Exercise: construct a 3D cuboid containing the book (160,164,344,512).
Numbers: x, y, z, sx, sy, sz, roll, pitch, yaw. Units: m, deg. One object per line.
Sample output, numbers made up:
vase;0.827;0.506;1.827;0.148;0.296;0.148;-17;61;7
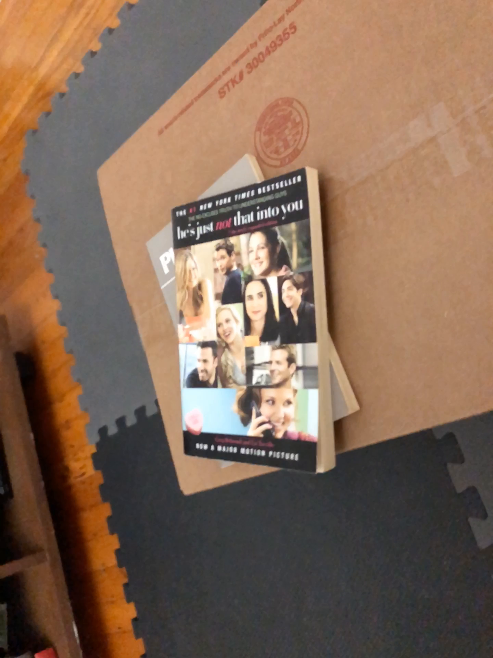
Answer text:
book;-0.004;0.010;0.415;0.150;0.010;0.230;-6;87;41
